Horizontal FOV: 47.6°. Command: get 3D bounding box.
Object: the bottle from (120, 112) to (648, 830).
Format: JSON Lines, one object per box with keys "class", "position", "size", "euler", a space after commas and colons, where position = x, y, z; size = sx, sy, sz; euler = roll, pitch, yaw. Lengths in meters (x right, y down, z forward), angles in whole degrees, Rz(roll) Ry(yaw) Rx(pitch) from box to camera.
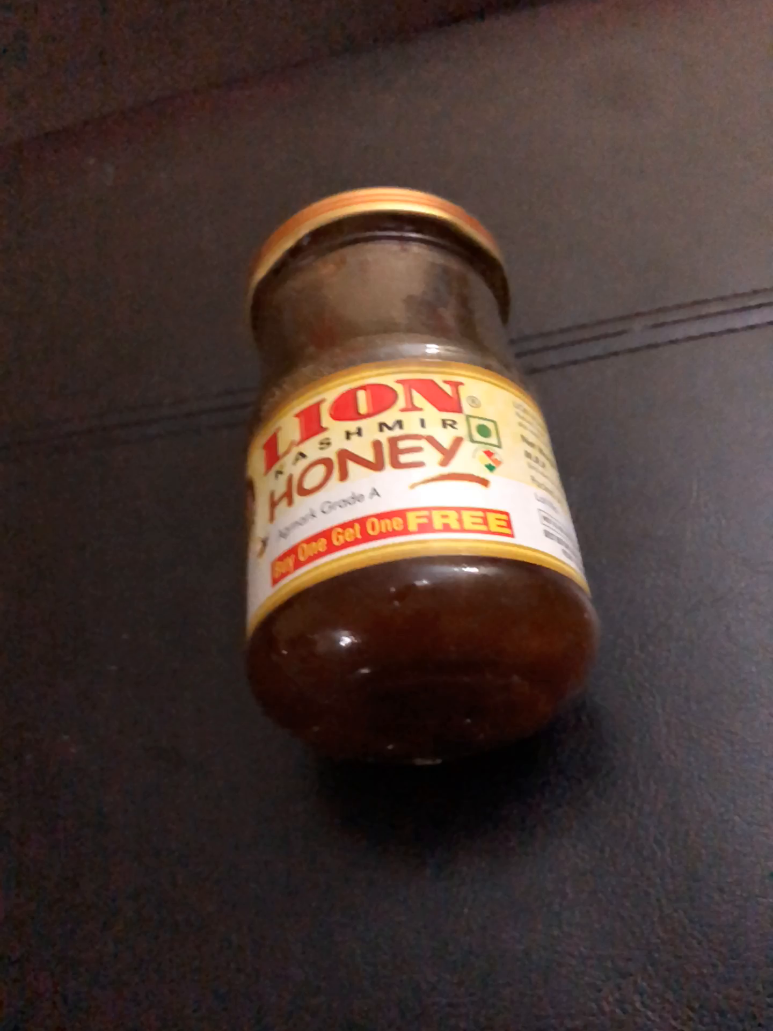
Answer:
{"class": "bottle", "position": [0.001, -0.008, 0.176], "size": [0.069, 0.070, 0.110], "euler": [-15, 54, 12]}
